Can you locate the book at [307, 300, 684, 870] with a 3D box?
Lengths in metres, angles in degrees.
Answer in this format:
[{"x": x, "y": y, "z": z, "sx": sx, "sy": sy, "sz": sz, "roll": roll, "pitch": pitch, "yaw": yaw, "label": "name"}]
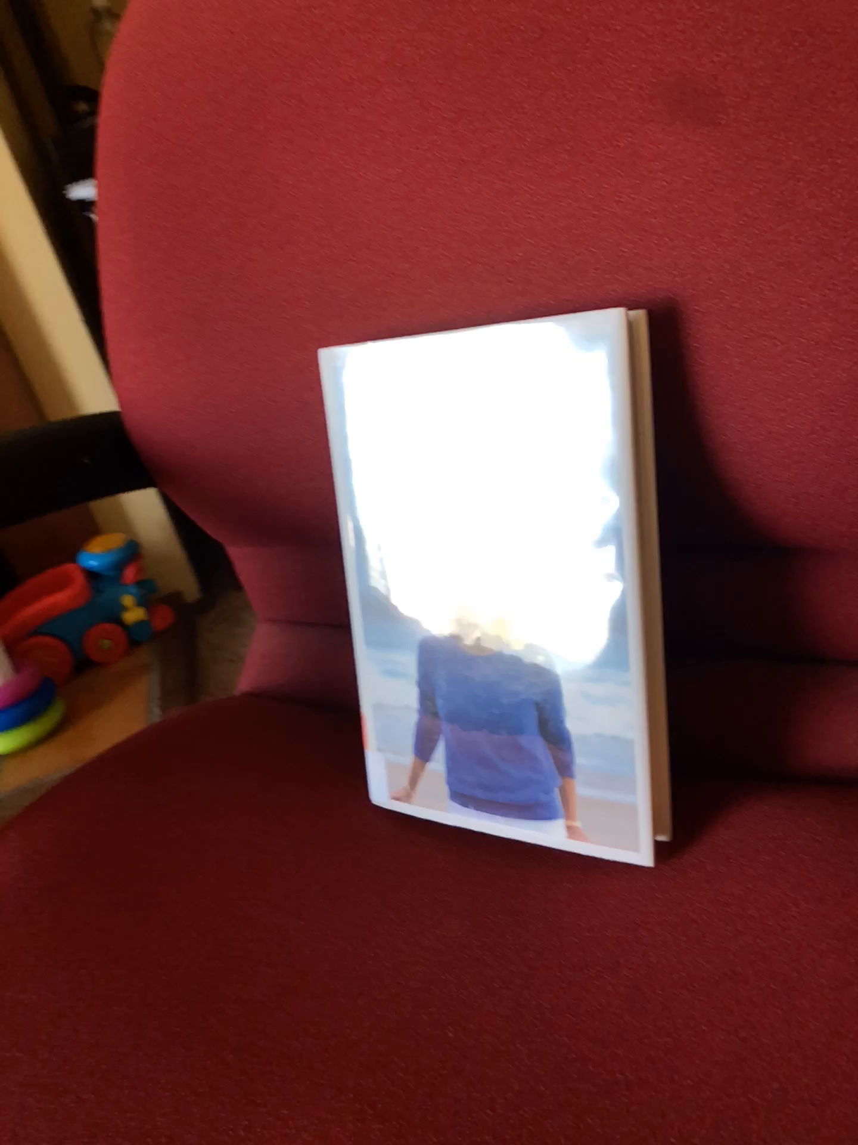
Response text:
[{"x": 0.025, "y": 0.004, "z": 0.397, "sx": 0.150, "sy": 0.210, "sz": 0.030, "roll": 3, "pitch": 13, "yaw": 35, "label": "book"}]
